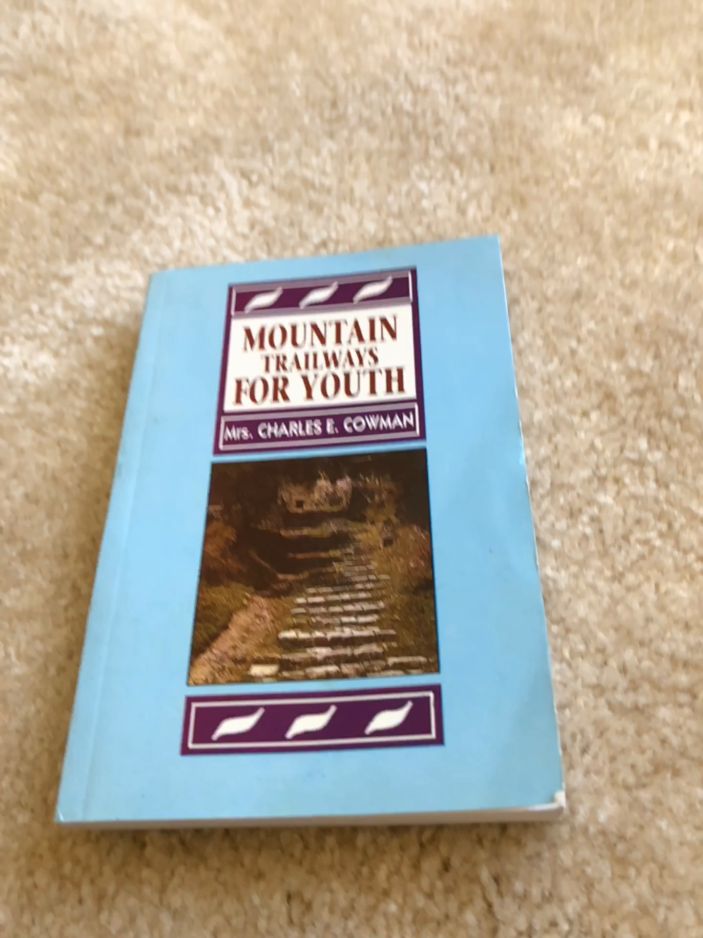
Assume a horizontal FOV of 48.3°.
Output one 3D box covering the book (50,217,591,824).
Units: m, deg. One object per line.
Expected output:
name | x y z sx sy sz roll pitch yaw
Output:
book | -0.007 0.008 0.227 0.122 0.030 0.171 -5 60 9
